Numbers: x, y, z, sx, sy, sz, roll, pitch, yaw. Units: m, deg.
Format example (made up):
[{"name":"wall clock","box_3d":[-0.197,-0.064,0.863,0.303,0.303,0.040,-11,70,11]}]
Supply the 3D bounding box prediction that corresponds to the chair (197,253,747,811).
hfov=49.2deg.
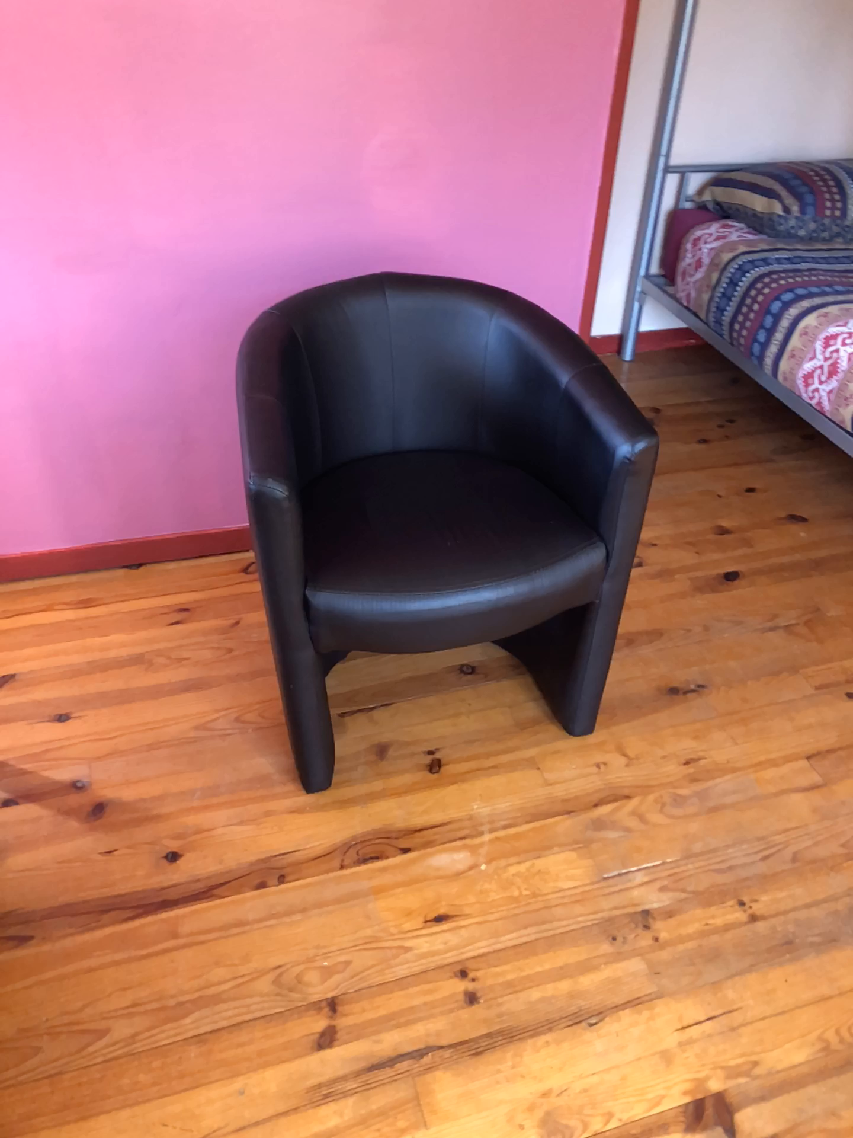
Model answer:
[{"name":"chair","box_3d":[0.015,-0.099,1.592,0.671,0.646,0.593,-9,38,-15]}]
